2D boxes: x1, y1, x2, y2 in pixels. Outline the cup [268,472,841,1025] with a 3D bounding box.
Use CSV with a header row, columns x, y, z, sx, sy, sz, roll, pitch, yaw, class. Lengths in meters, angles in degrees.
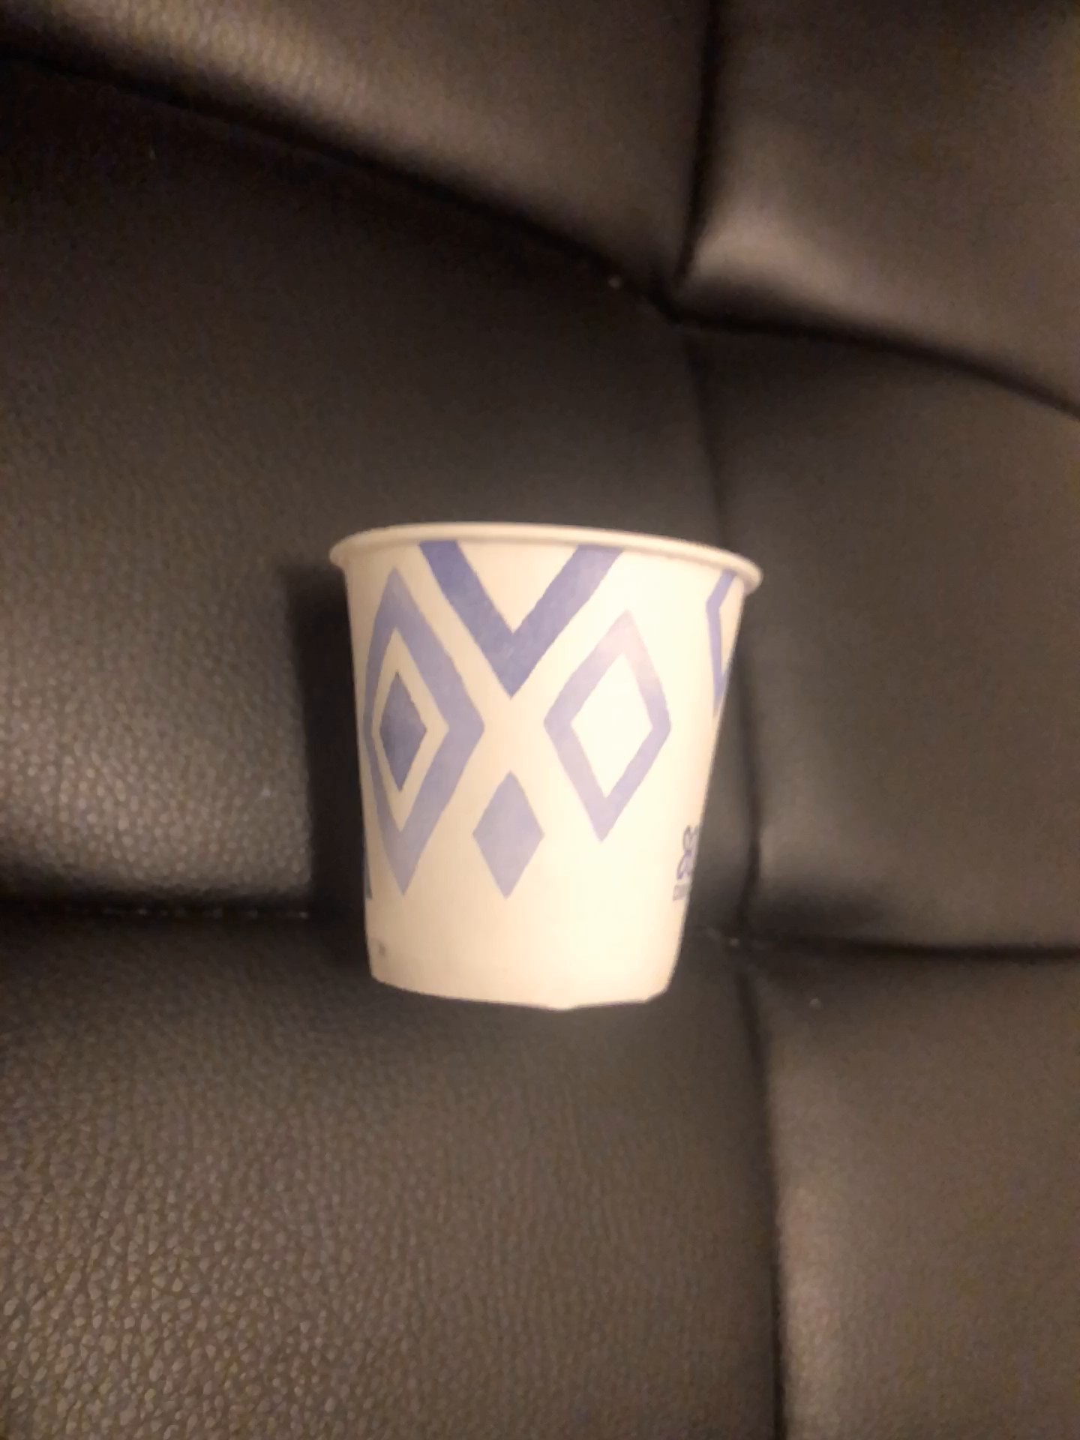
x,y,z,sx,sy,sz,roll,pitch,yaw,class
0.000,0.005,0.163,0.052,0.049,0.058,7,88,-30,cup
